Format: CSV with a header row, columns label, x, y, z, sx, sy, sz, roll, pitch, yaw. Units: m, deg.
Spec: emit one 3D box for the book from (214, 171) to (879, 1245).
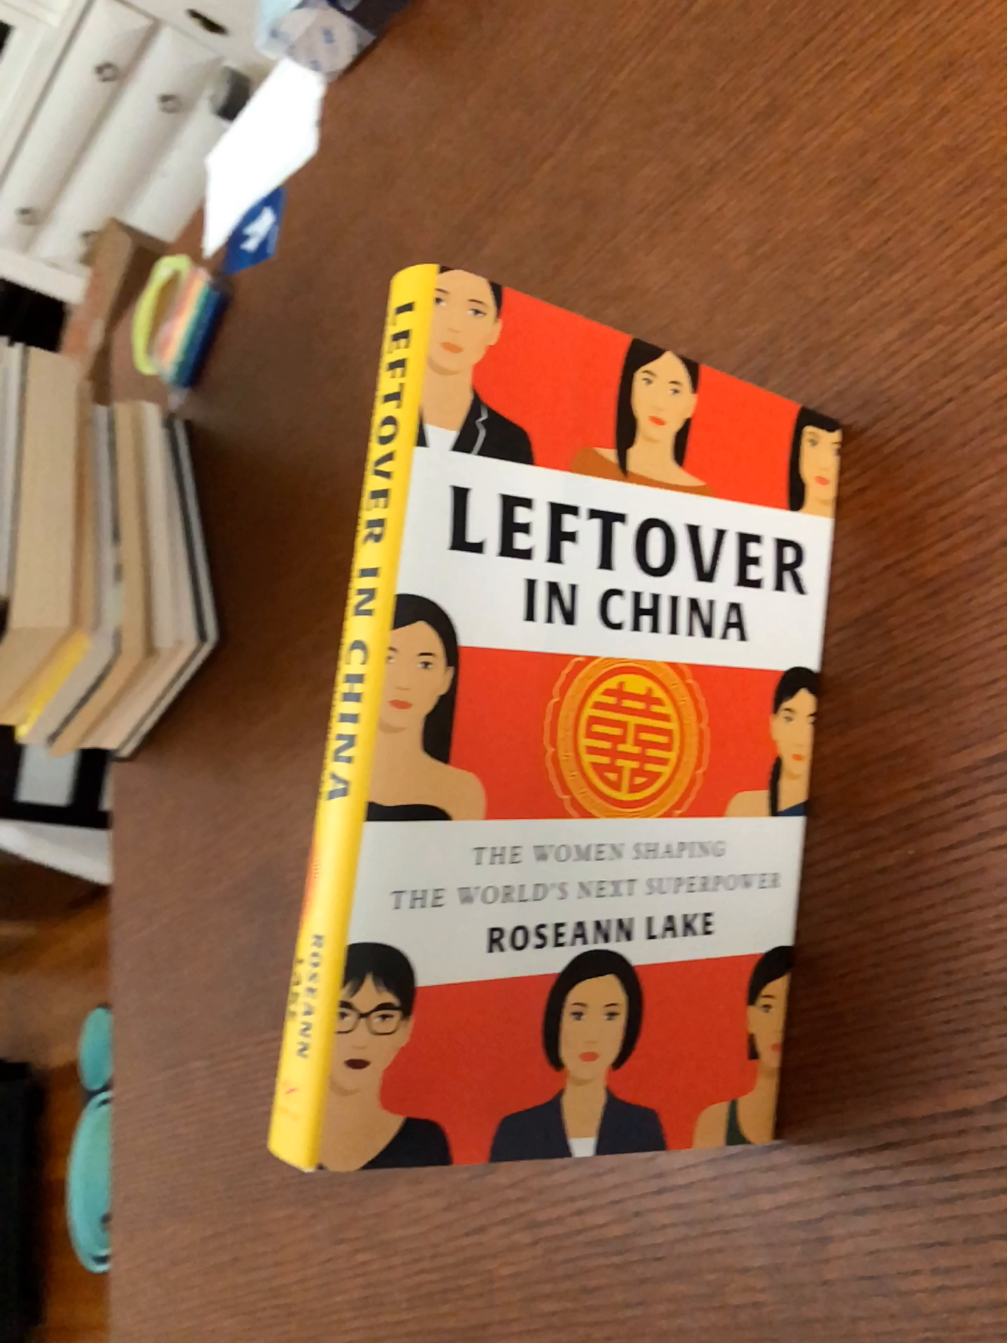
label,x,y,z,sx,sy,sz,roll,pitch,yaw
book,0.027,0.017,0.347,0.060,0.179,0.260,0,80,51
